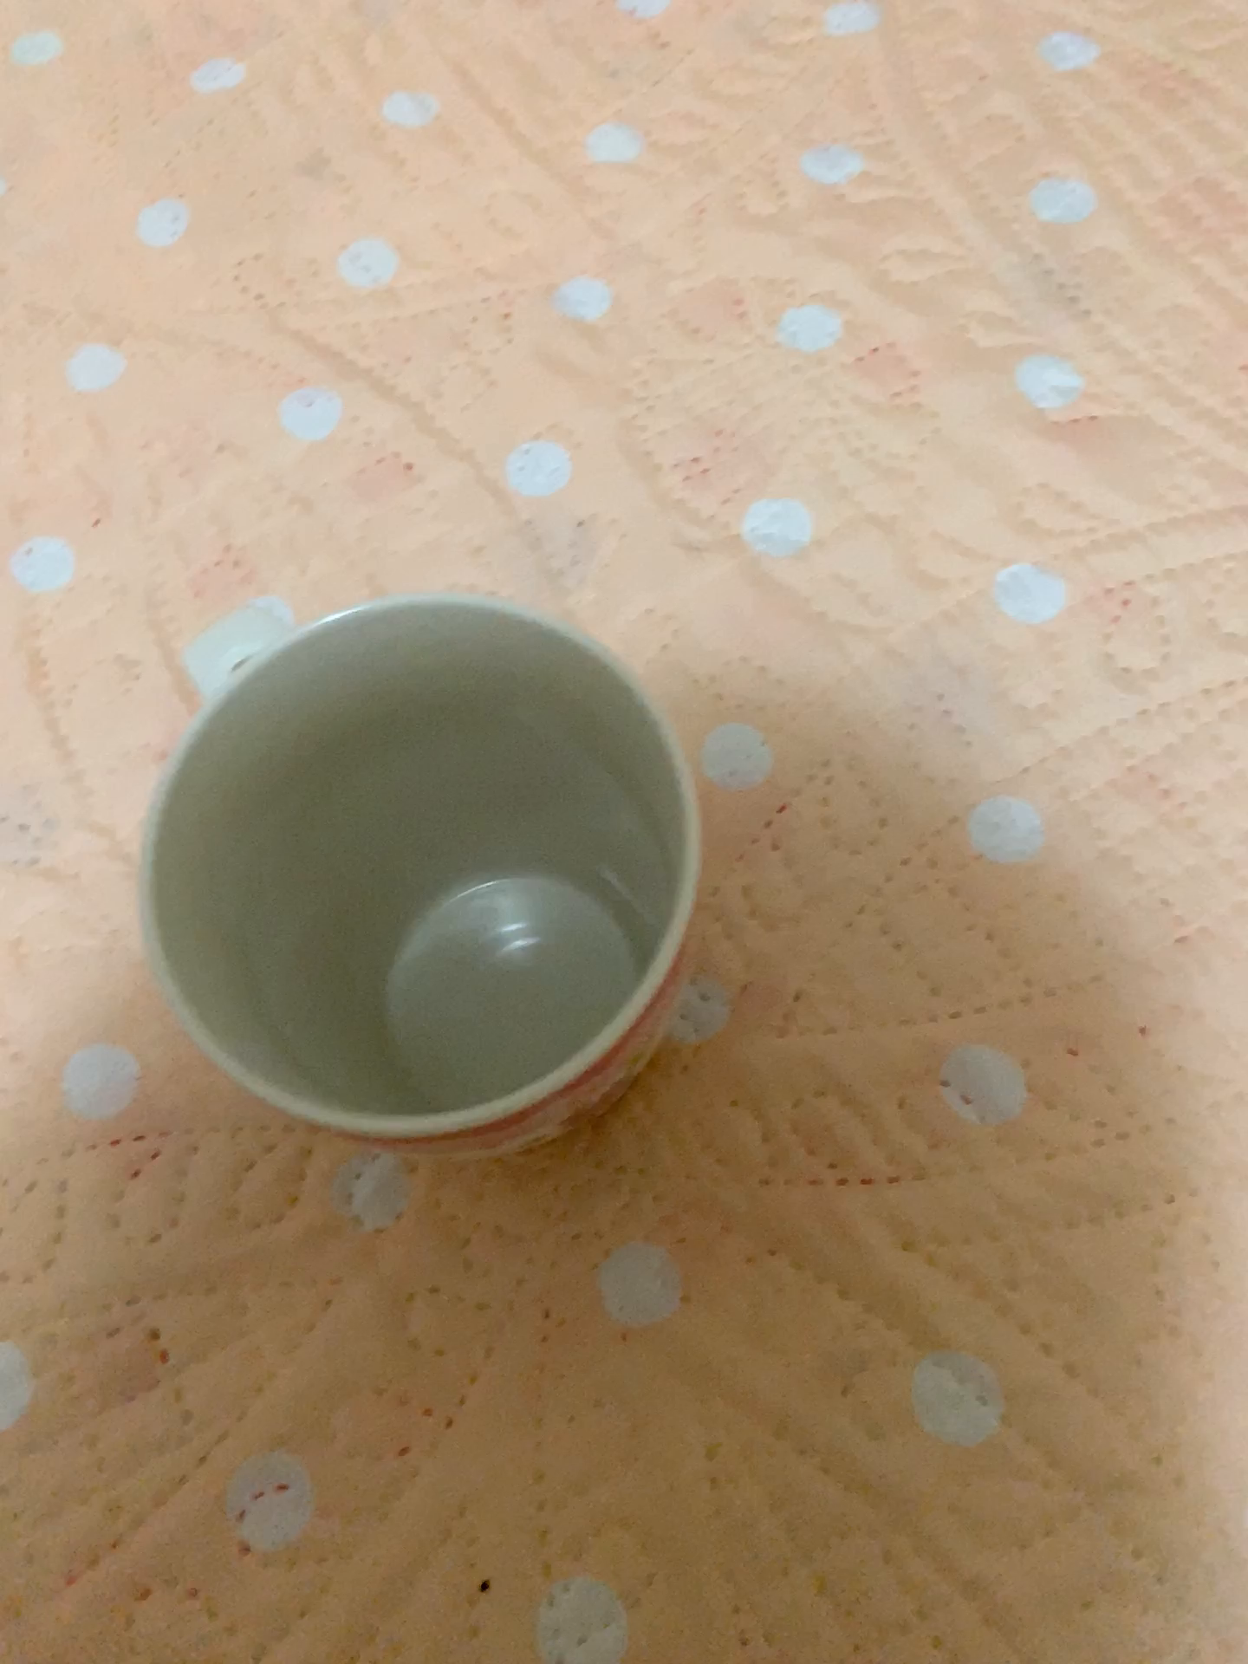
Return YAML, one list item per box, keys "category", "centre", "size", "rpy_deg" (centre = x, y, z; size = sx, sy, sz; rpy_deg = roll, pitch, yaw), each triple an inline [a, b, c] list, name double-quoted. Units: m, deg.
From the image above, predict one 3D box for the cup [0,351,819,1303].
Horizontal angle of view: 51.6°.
- category: "cup"
  centre: [-0.043, 0.005, 0.238]
  size: [0.090, 0.100, 0.120]
  rpy_deg: [-41, 71, -12]
